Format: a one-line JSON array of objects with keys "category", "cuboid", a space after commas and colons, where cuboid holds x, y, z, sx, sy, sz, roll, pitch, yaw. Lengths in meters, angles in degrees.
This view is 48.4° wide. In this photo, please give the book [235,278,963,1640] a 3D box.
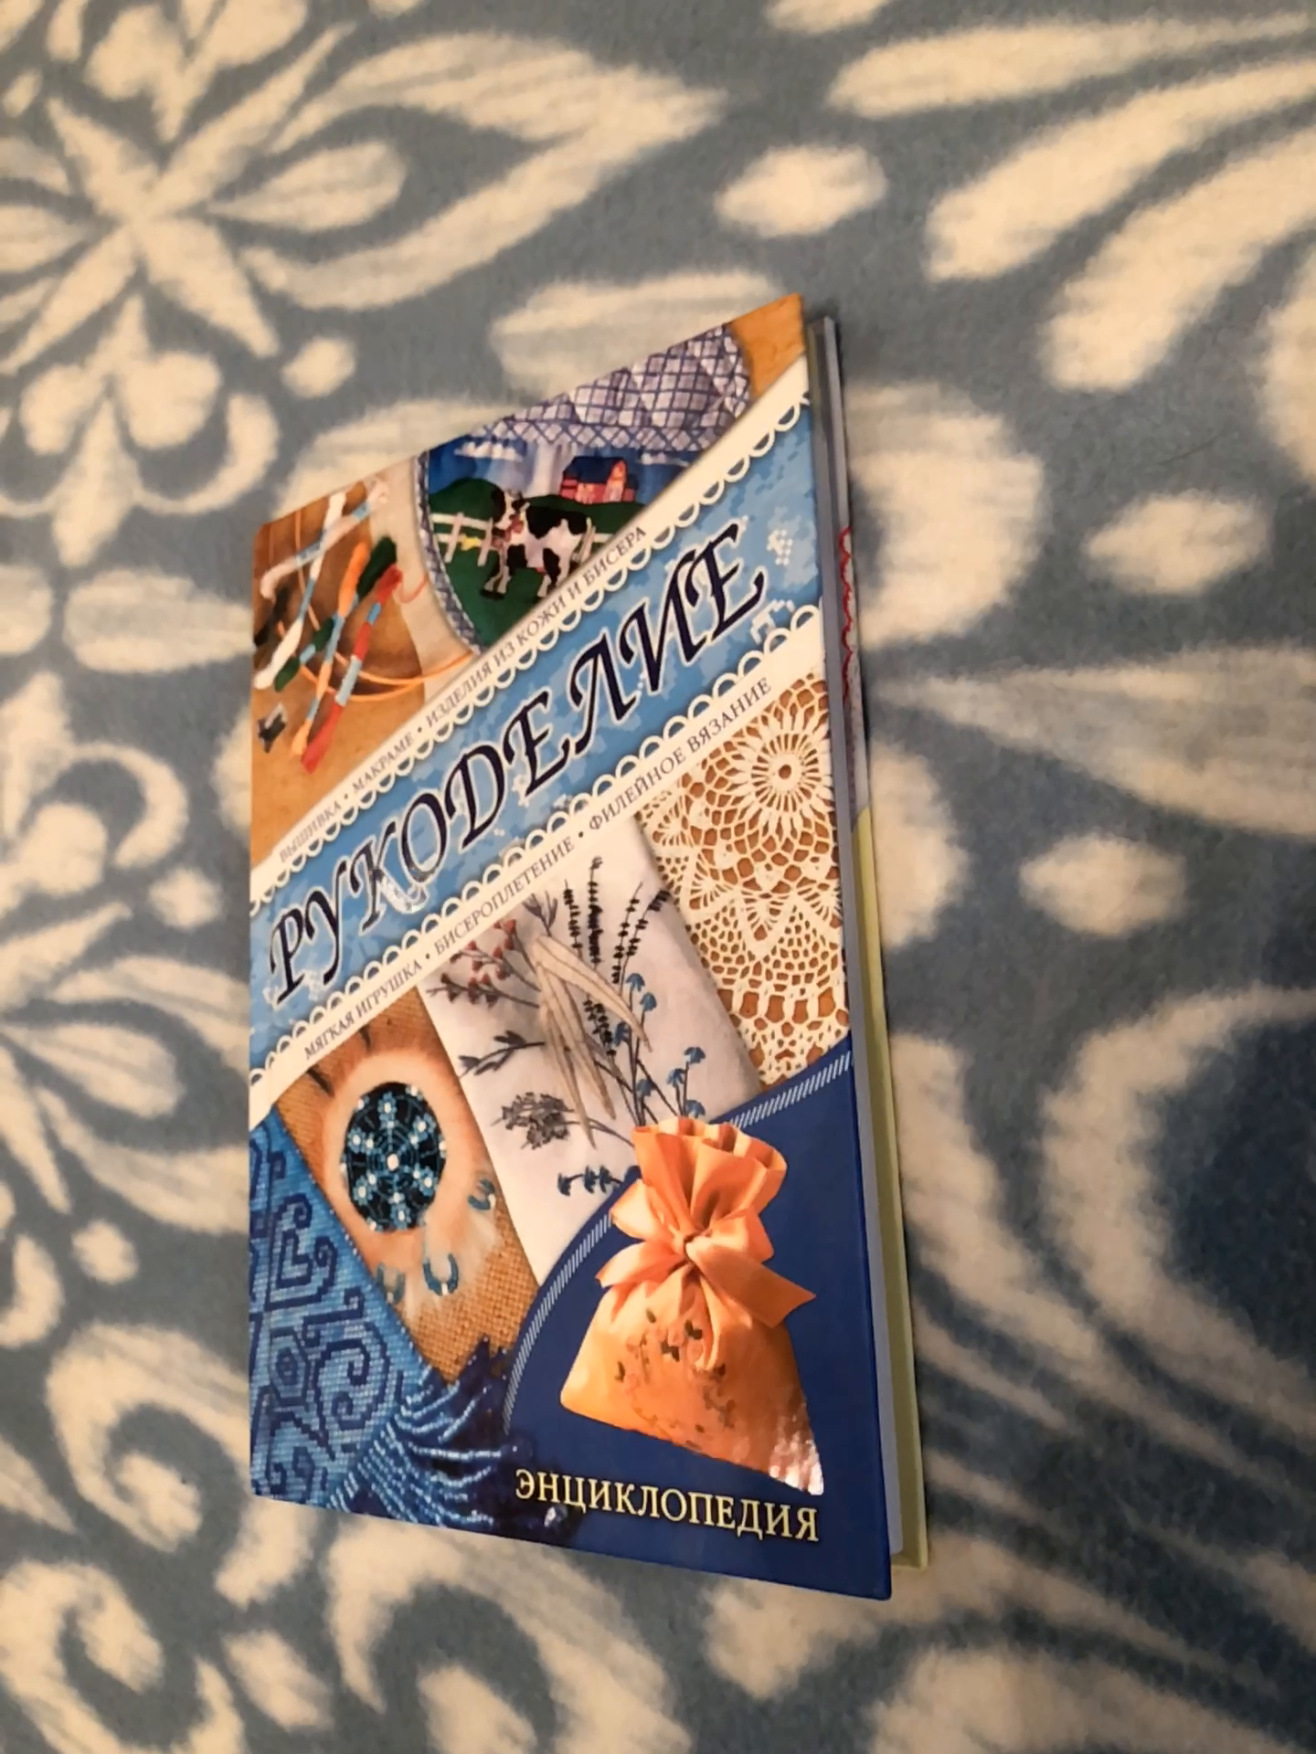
[{"category": "book", "cuboid": [-0.028, 0.018, 0.310, 0.169, 0.020, 0.237, -11, 77, 36]}]
